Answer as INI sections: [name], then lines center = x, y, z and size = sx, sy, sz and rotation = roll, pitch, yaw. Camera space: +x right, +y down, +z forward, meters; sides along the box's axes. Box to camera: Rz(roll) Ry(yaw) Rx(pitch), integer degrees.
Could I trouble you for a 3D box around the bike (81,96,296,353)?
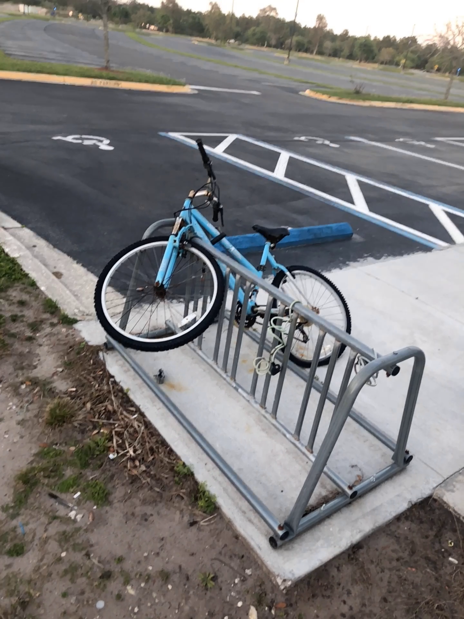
[bike]
center = -0.311, -0.421, 2.743
size = 0.937, 1.128, 0.551
rotation = 2, 27, -16
